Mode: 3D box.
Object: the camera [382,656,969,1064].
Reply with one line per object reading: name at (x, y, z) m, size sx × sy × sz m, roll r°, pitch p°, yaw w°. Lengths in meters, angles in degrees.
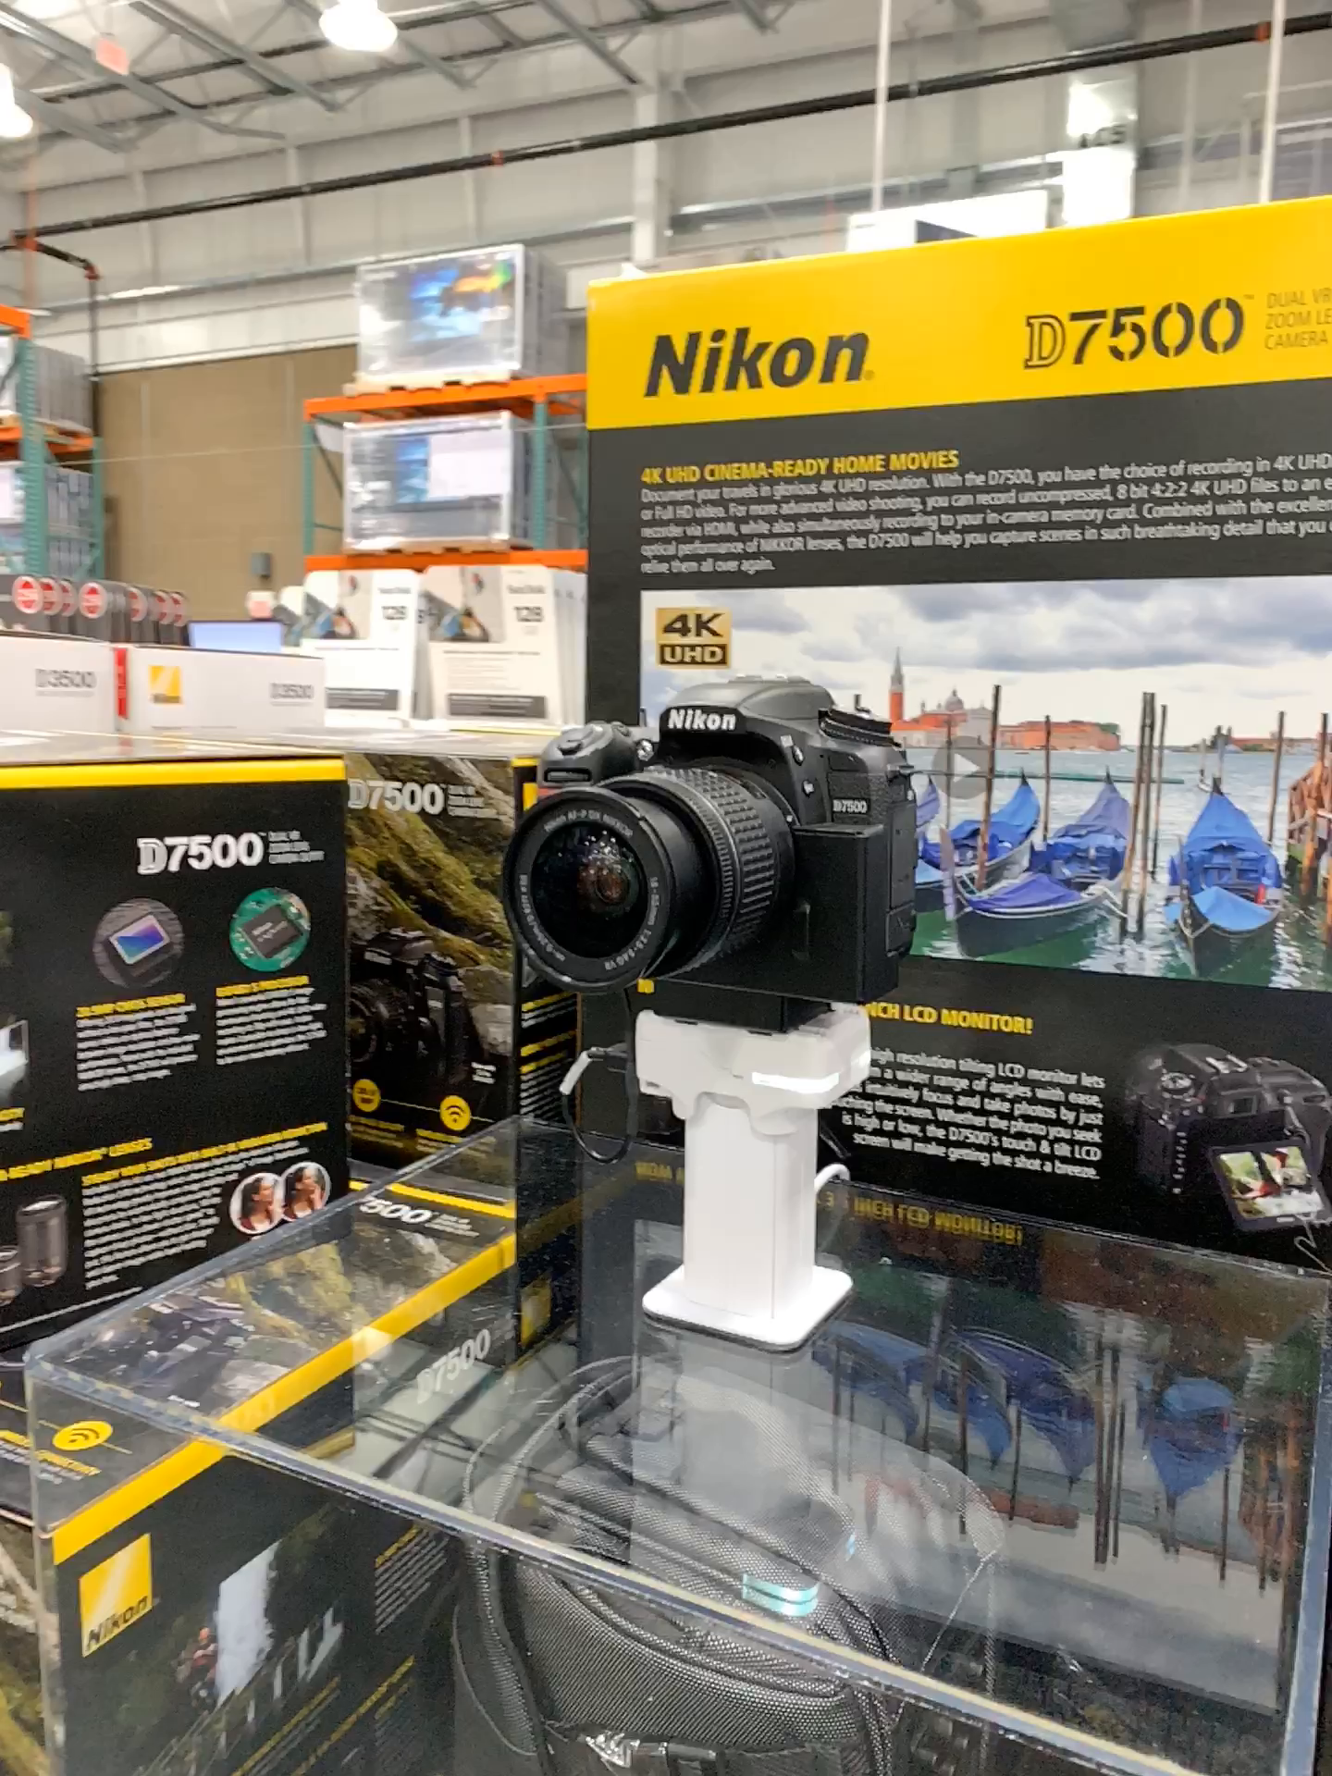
camera at (0.004, -0.018, 0.457) m, size 0.160 × 0.110 × 0.110 m, roll 5°, pitch 8°, yaw 27°
